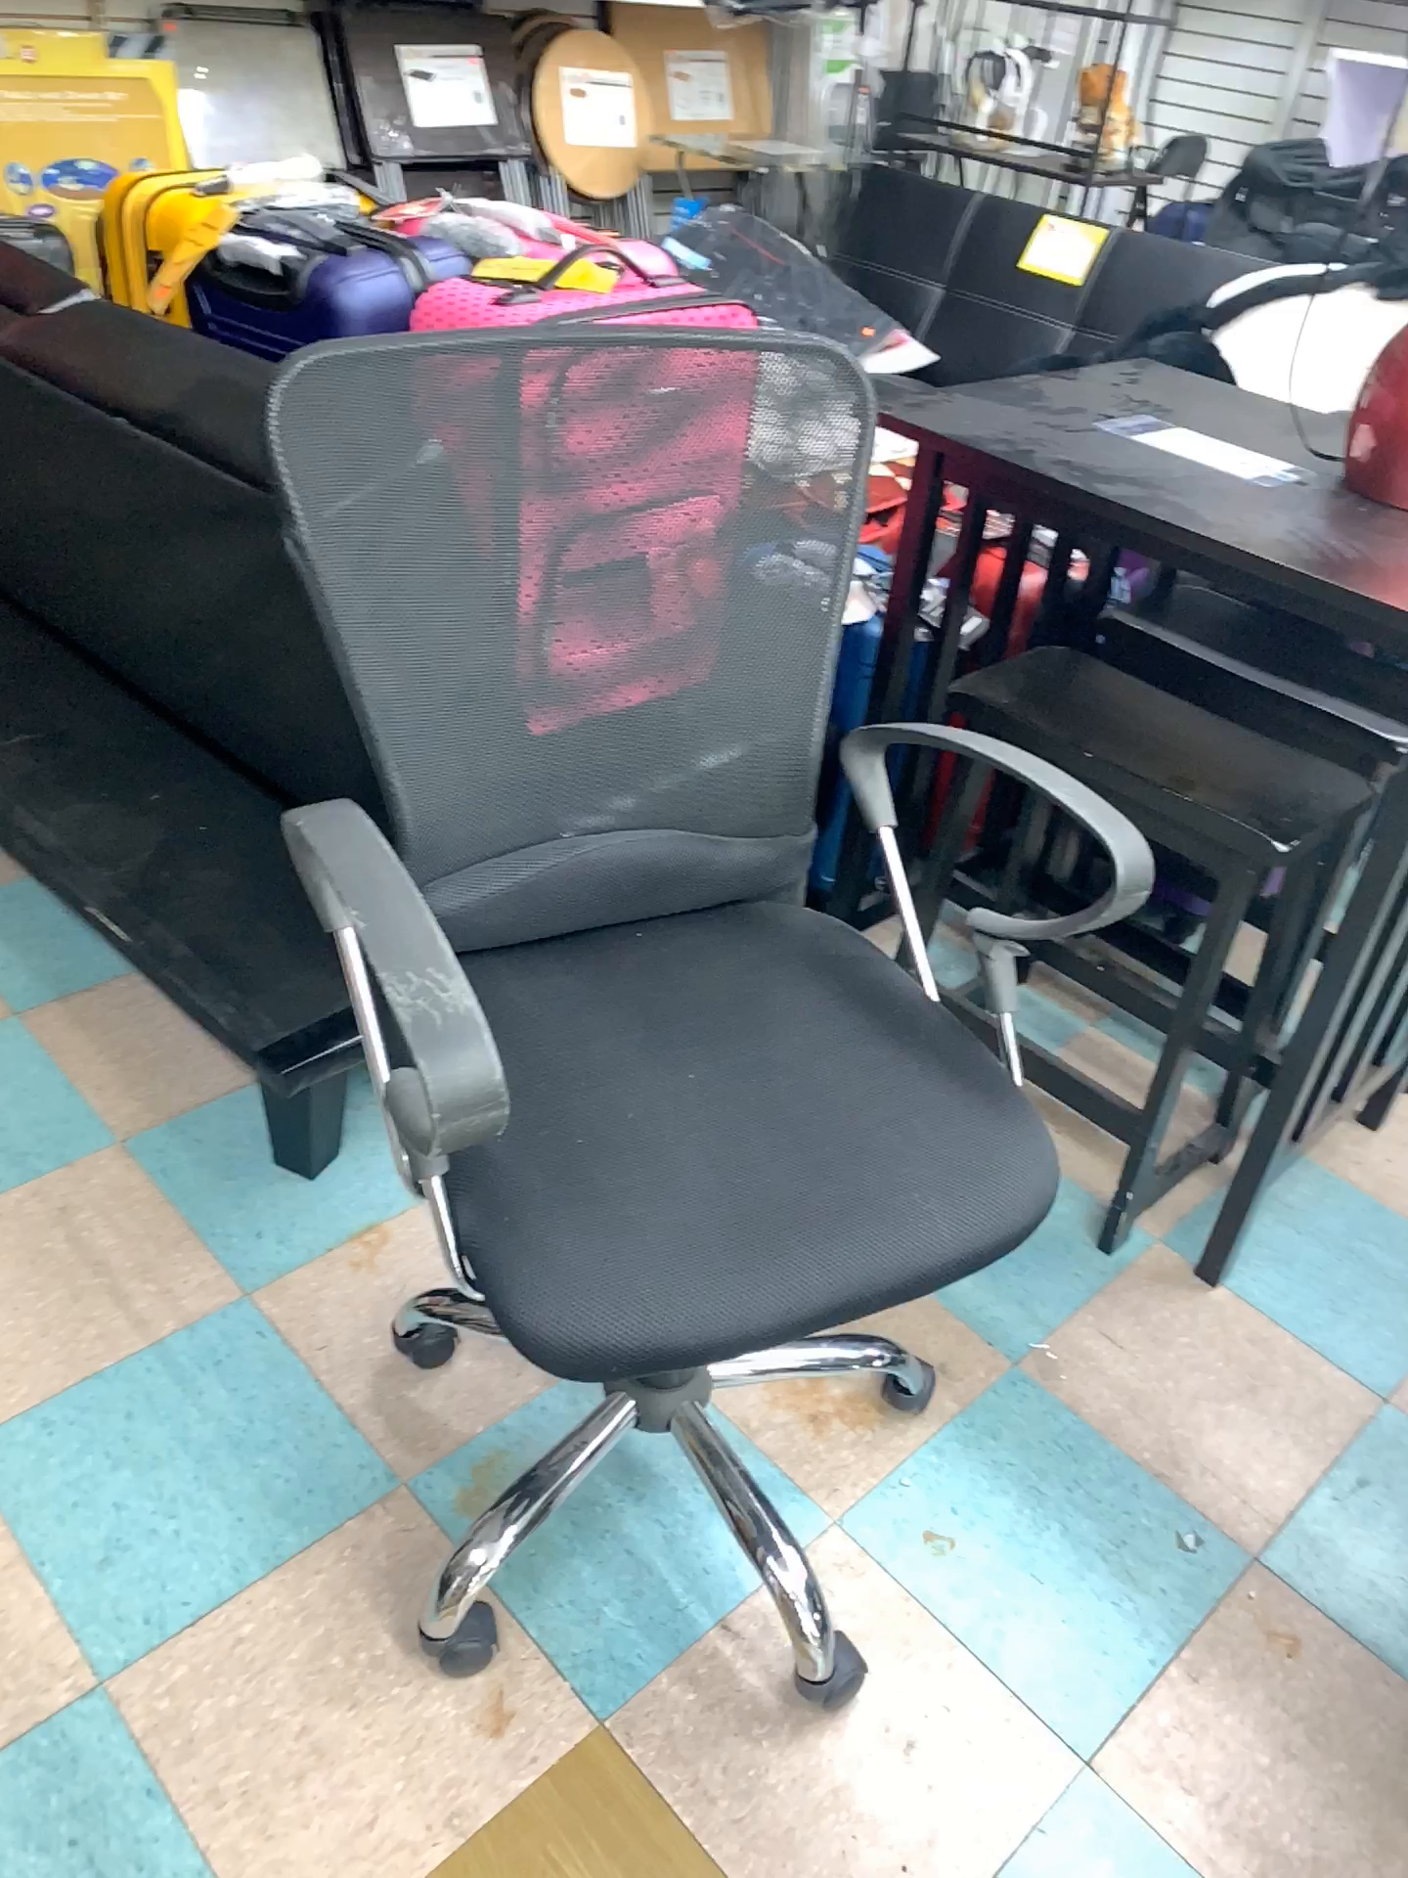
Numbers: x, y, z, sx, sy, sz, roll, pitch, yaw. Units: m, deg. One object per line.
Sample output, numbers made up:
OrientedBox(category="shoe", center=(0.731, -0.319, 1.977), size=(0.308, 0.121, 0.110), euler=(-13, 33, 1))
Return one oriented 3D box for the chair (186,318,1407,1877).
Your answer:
OrientedBox(category="chair", center=(0.020, 0.119, 1.148), size=(0.621, 1.019, 0.603), euler=(-12, 40, -26))
